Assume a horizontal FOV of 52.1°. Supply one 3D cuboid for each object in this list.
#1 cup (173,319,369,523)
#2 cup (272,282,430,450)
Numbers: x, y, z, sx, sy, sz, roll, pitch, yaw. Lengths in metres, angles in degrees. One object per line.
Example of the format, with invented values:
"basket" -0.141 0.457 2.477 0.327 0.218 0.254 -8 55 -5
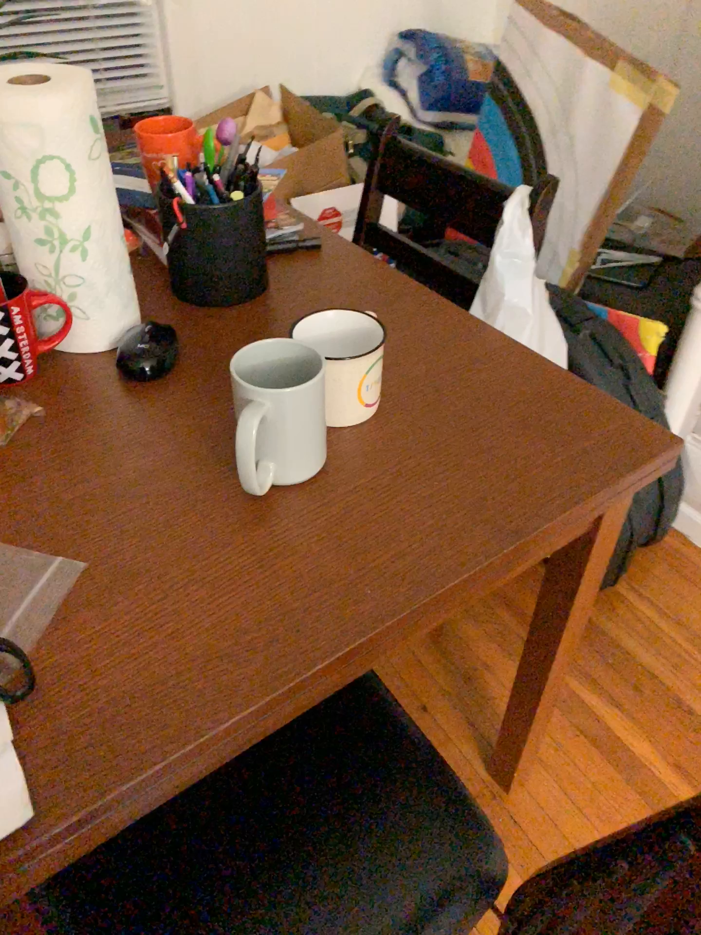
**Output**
"cup" -0.066 -0.047 0.647 0.100 0.099 0.140 26 47 26
"cup" 0.002 -0.109 0.746 0.100 0.099 0.130 26 47 26
